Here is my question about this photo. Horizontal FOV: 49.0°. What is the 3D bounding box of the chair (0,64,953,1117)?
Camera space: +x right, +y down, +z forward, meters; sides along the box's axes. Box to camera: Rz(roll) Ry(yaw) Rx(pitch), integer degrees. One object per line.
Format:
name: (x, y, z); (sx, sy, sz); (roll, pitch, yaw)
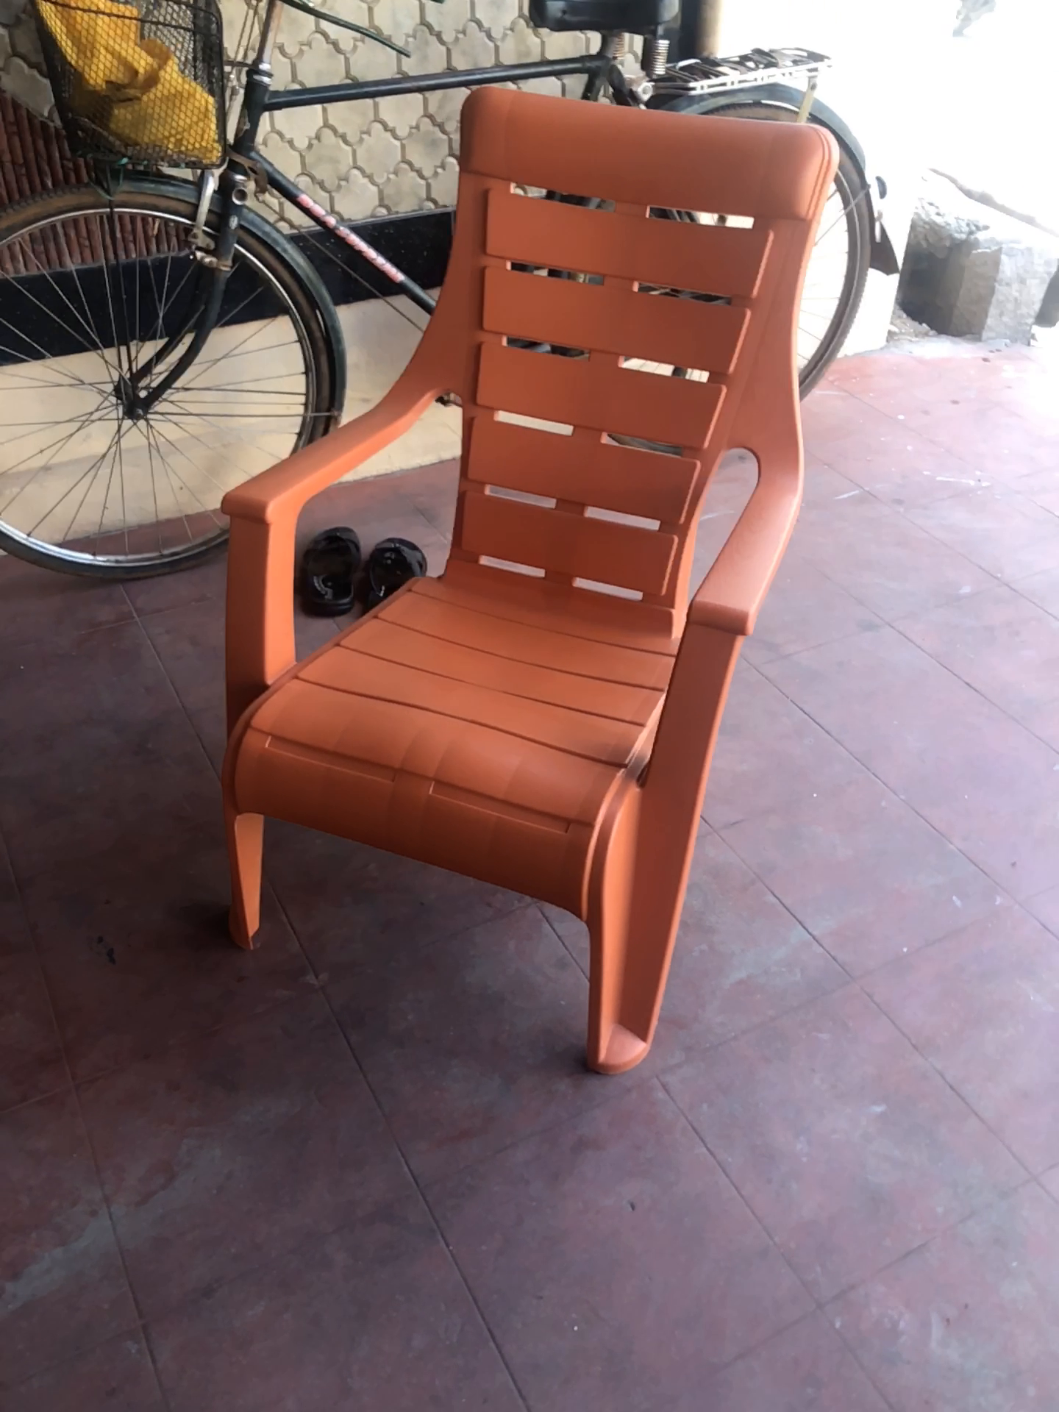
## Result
chair: (-0.004, -0.187, 1.321); (0.690, 0.786, 0.764); (14, 41, 15)
